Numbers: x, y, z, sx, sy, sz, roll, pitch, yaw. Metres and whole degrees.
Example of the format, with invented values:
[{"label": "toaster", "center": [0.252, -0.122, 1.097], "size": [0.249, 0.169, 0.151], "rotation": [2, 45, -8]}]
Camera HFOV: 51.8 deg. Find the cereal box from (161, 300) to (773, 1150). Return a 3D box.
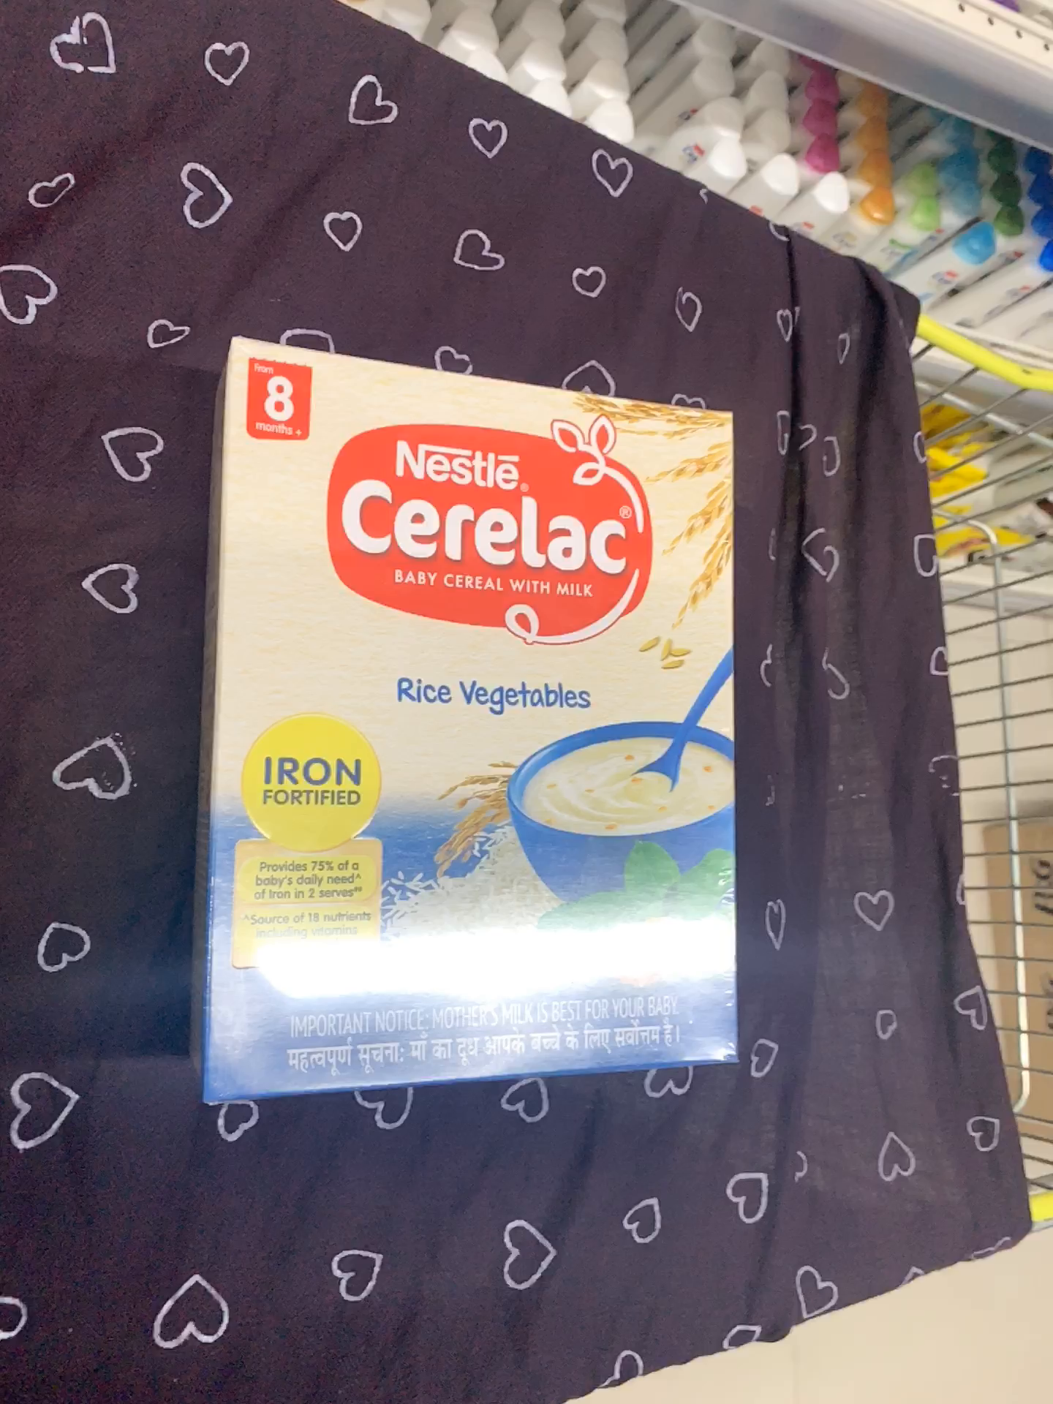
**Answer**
[{"label": "cereal box", "center": [-0.016, 0.006, 0.292], "size": [0.150, 0.050, 0.190], "rotation": [2, 83, -22]}]
